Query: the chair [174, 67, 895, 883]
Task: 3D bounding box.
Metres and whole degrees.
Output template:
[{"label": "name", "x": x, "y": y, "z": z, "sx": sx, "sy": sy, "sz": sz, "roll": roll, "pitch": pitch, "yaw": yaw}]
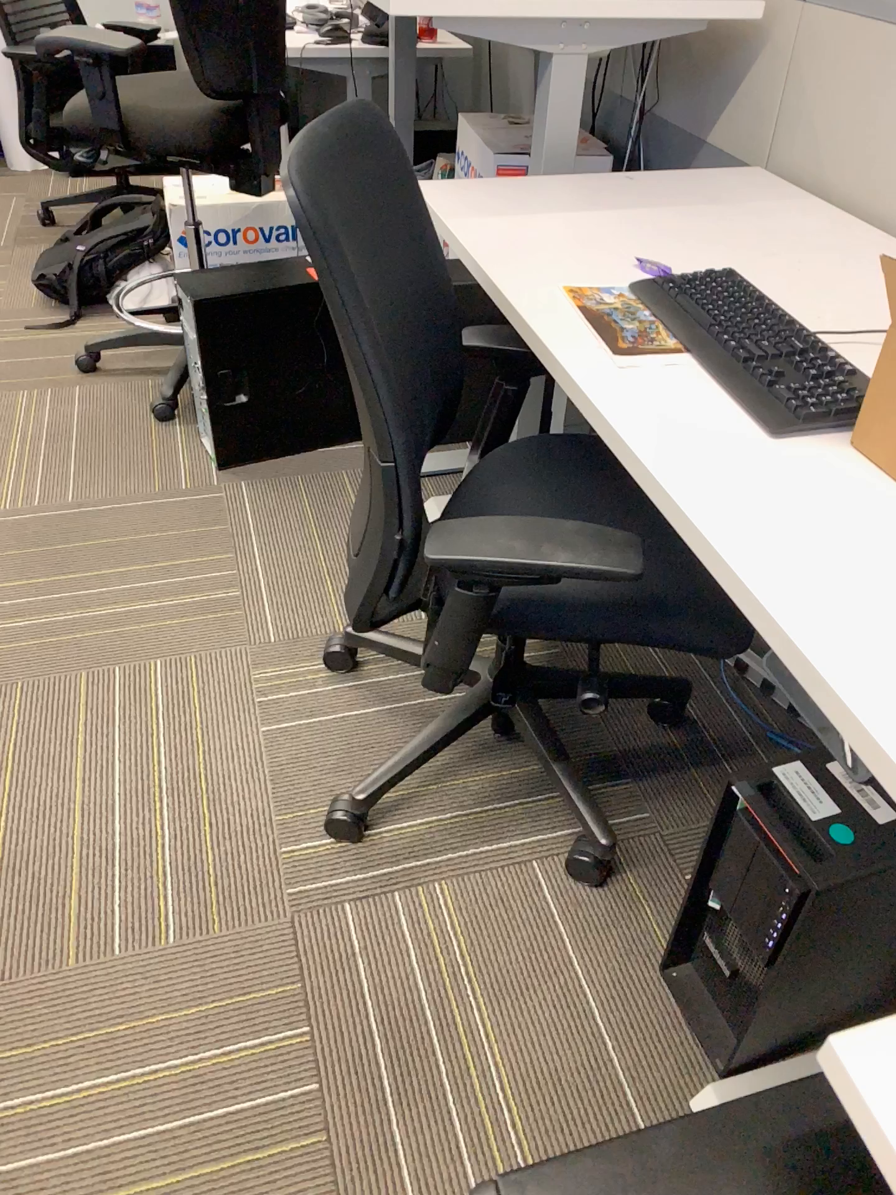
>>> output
[{"label": "chair", "x": 0.116, "y": -0.166, "z": 1.335, "sx": 0.750, "sy": 0.934, "sz": 0.704, "roll": 0, "pitch": 39, "yaw": -3}]
